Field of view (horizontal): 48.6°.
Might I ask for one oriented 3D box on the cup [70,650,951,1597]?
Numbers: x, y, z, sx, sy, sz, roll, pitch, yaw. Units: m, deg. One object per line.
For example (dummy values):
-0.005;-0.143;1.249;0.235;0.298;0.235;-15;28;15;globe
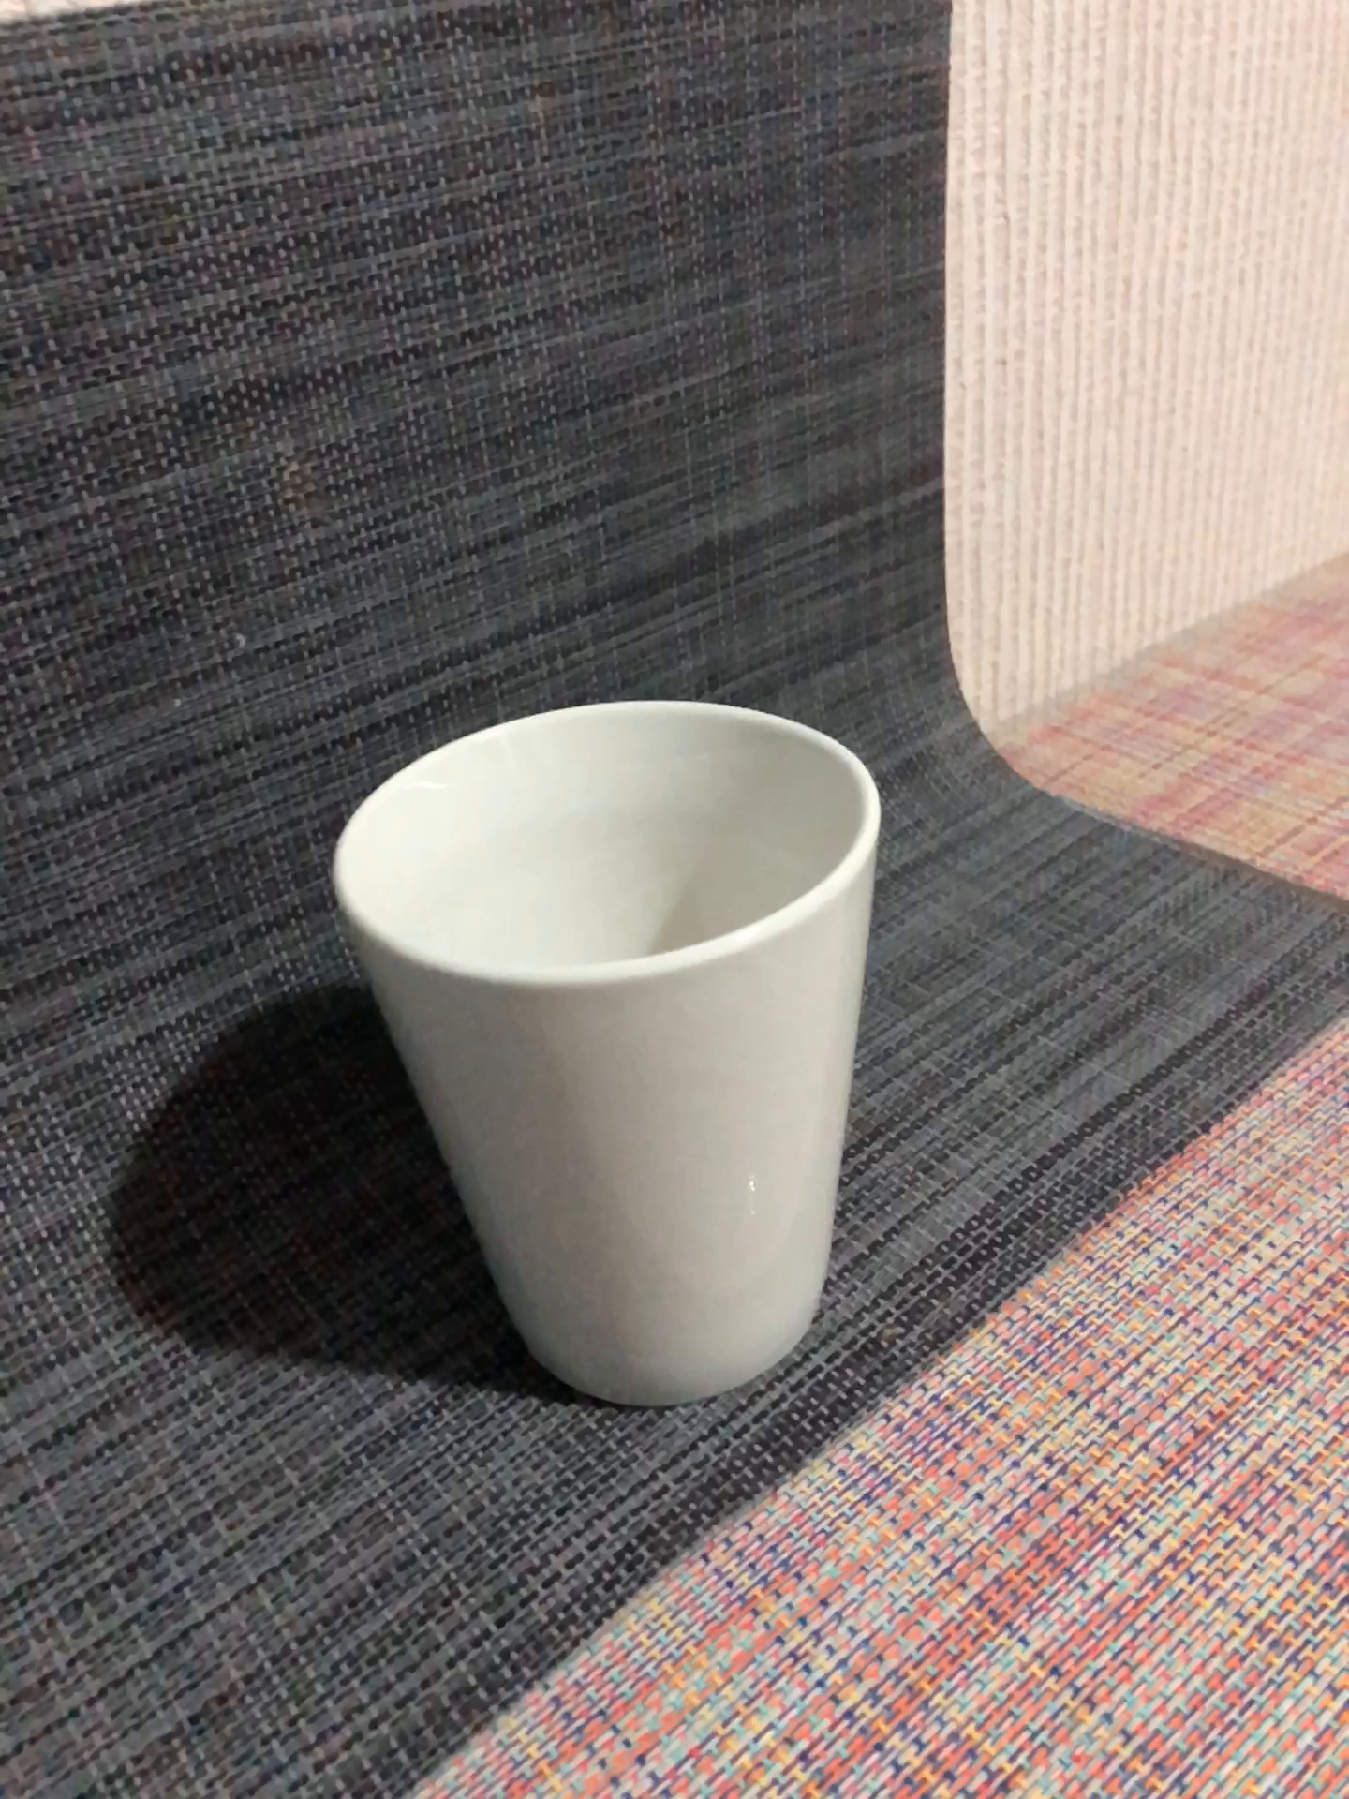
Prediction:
-0.012;0.027;0.253;0.096;0.096;0.112;6;34;20;cup
